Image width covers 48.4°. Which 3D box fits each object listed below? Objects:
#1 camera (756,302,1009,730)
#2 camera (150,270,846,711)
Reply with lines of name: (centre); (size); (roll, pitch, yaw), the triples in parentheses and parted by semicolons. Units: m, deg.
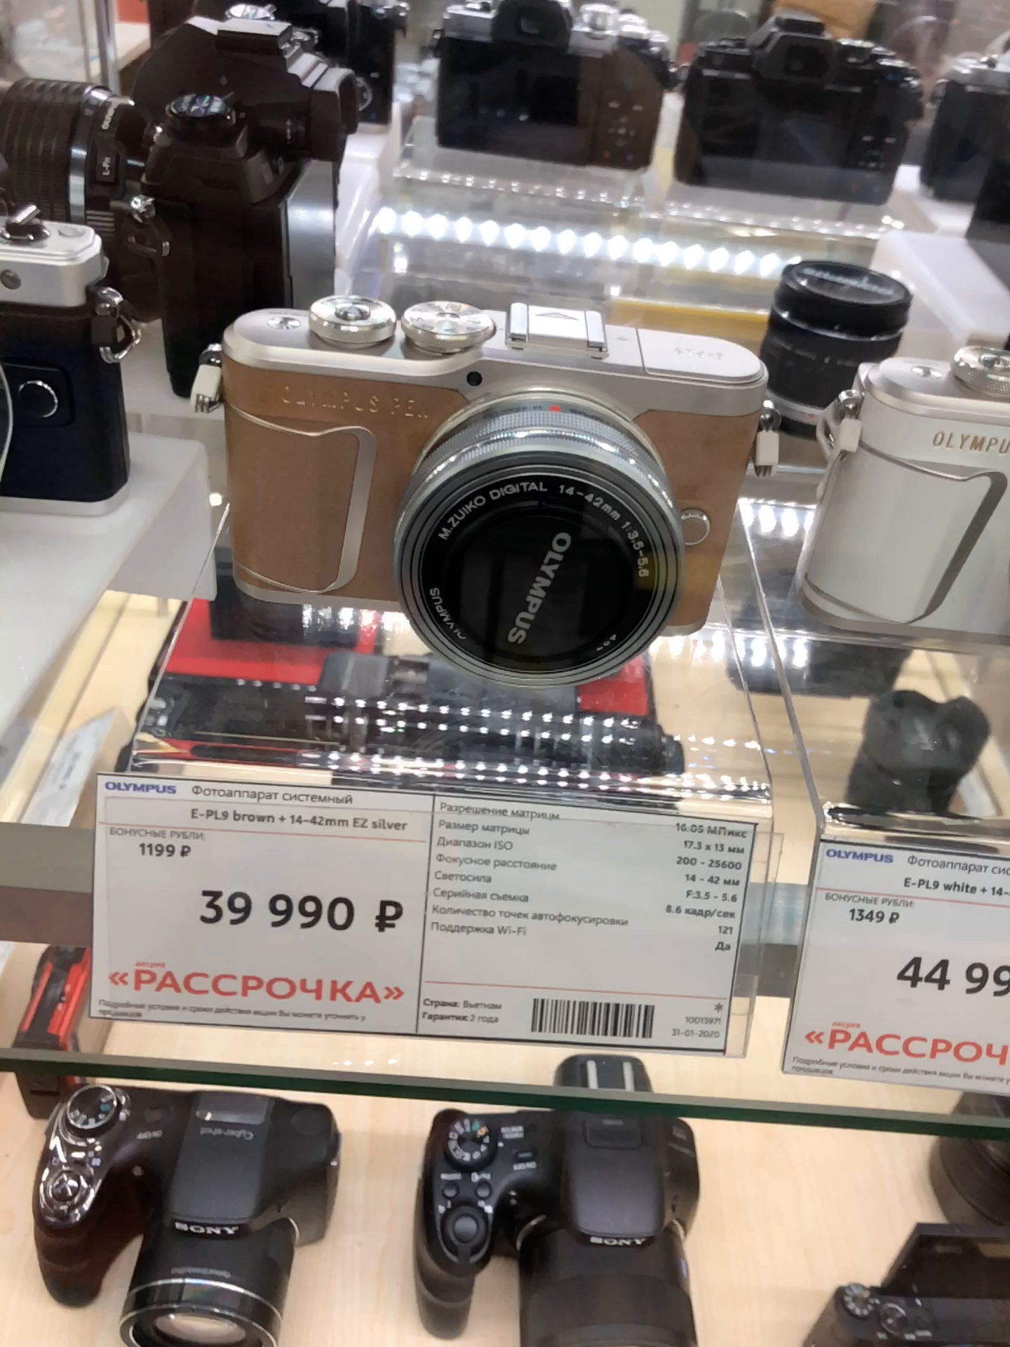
camera: (0.126, -0.035, 0.245); (0.122, 0.060, 0.060); (5, 38, -3)
camera: (-0.003, -0.039, 0.237); (0.122, 0.060, 0.060); (5, 38, -3)
